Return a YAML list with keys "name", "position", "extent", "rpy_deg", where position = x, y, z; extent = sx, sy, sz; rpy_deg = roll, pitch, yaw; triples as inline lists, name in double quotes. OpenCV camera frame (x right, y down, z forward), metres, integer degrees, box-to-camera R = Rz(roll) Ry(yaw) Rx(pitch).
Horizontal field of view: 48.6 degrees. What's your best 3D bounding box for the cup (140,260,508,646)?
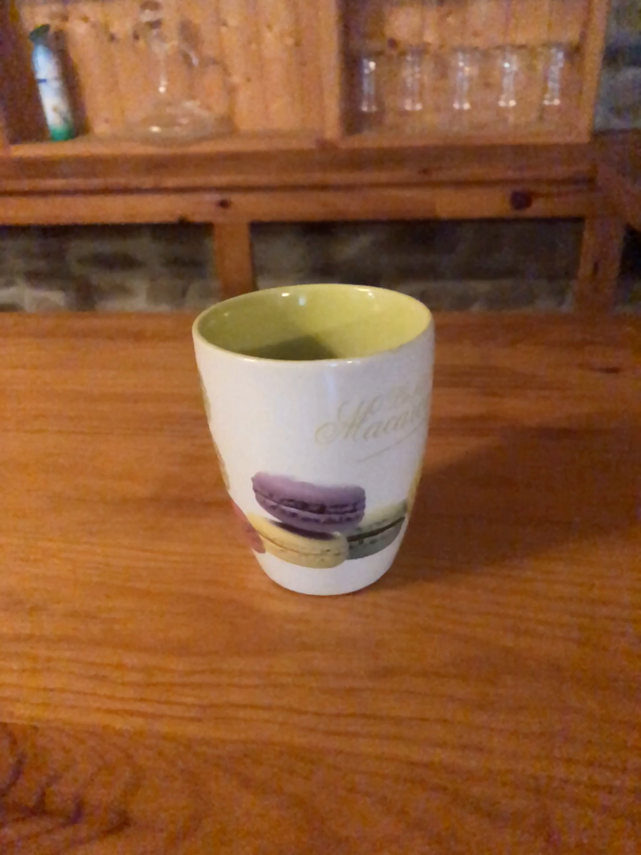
- name: "cup"
  position: [0.010, -0.002, 0.296]
  extent: [0.097, 0.099, 0.121]
  rpy_deg: [12, 30, 25]
